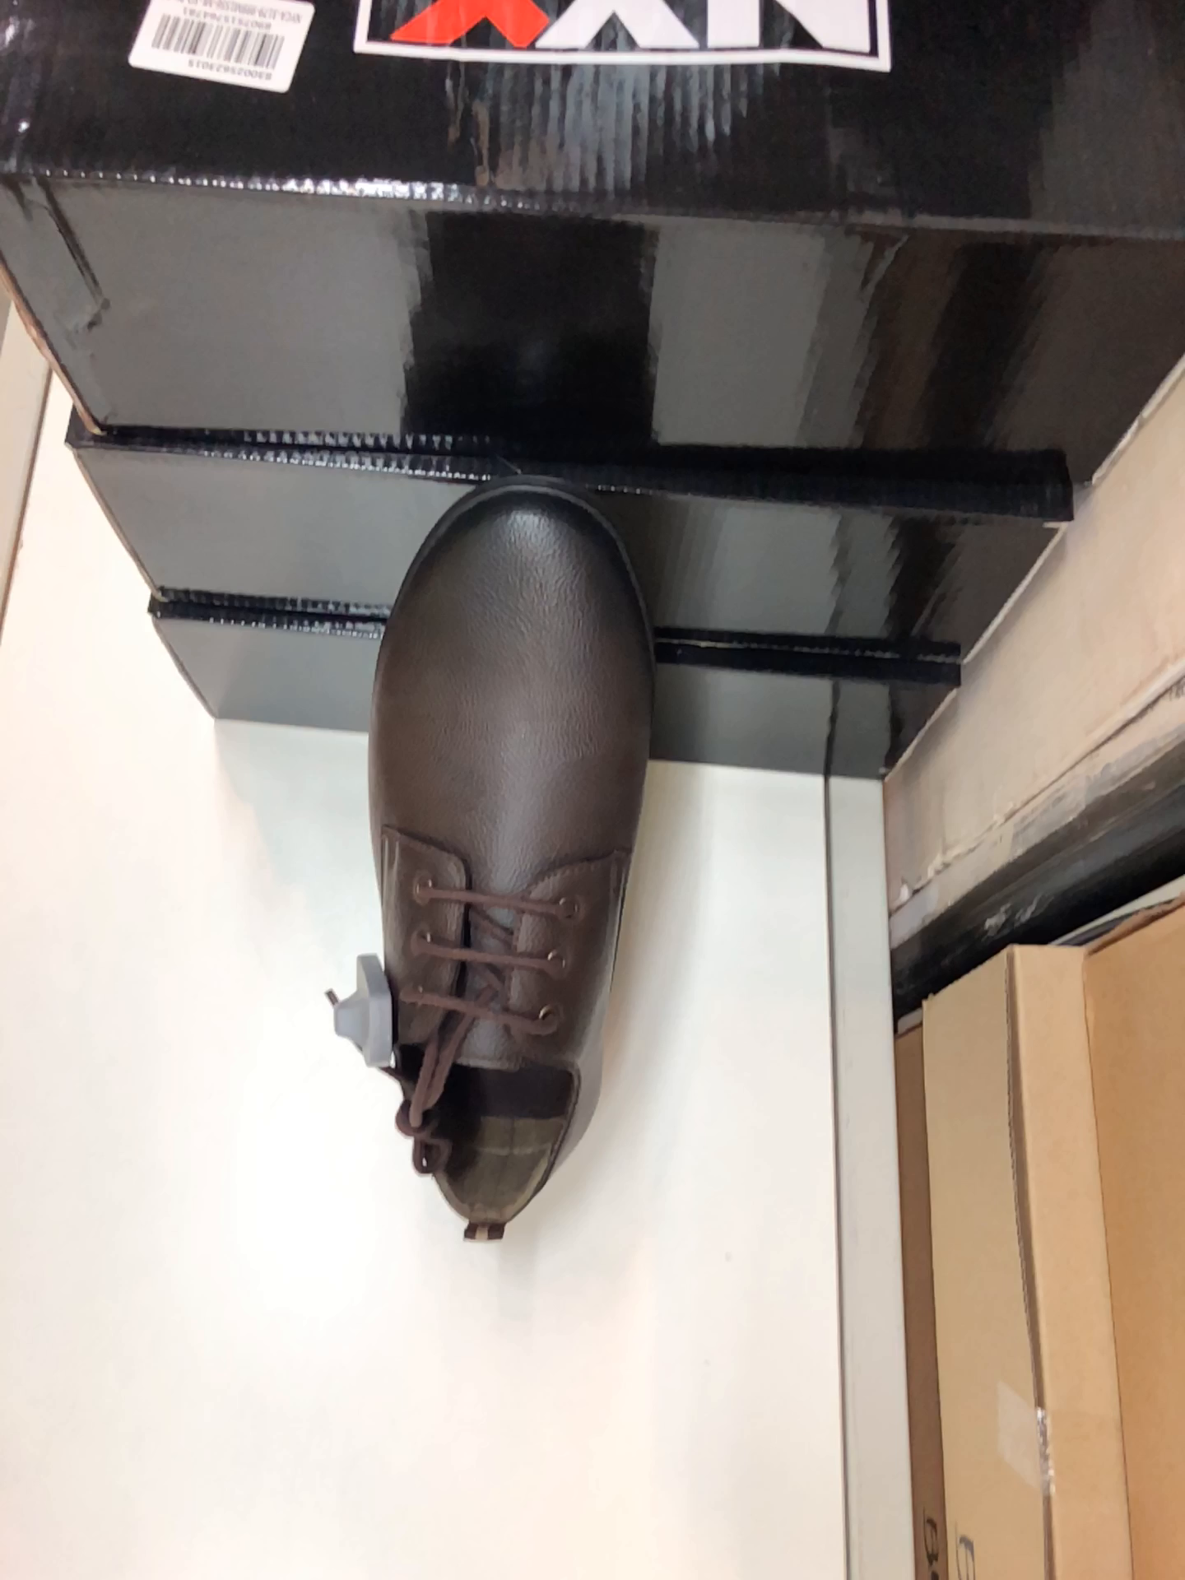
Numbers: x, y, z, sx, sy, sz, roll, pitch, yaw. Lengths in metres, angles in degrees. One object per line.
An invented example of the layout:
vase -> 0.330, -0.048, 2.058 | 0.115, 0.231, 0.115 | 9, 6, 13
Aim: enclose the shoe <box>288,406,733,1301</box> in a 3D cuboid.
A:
shoe -> -0.027, 0.023, 0.448 | 0.111, 0.271, 0.116 | 8, 27, 5
